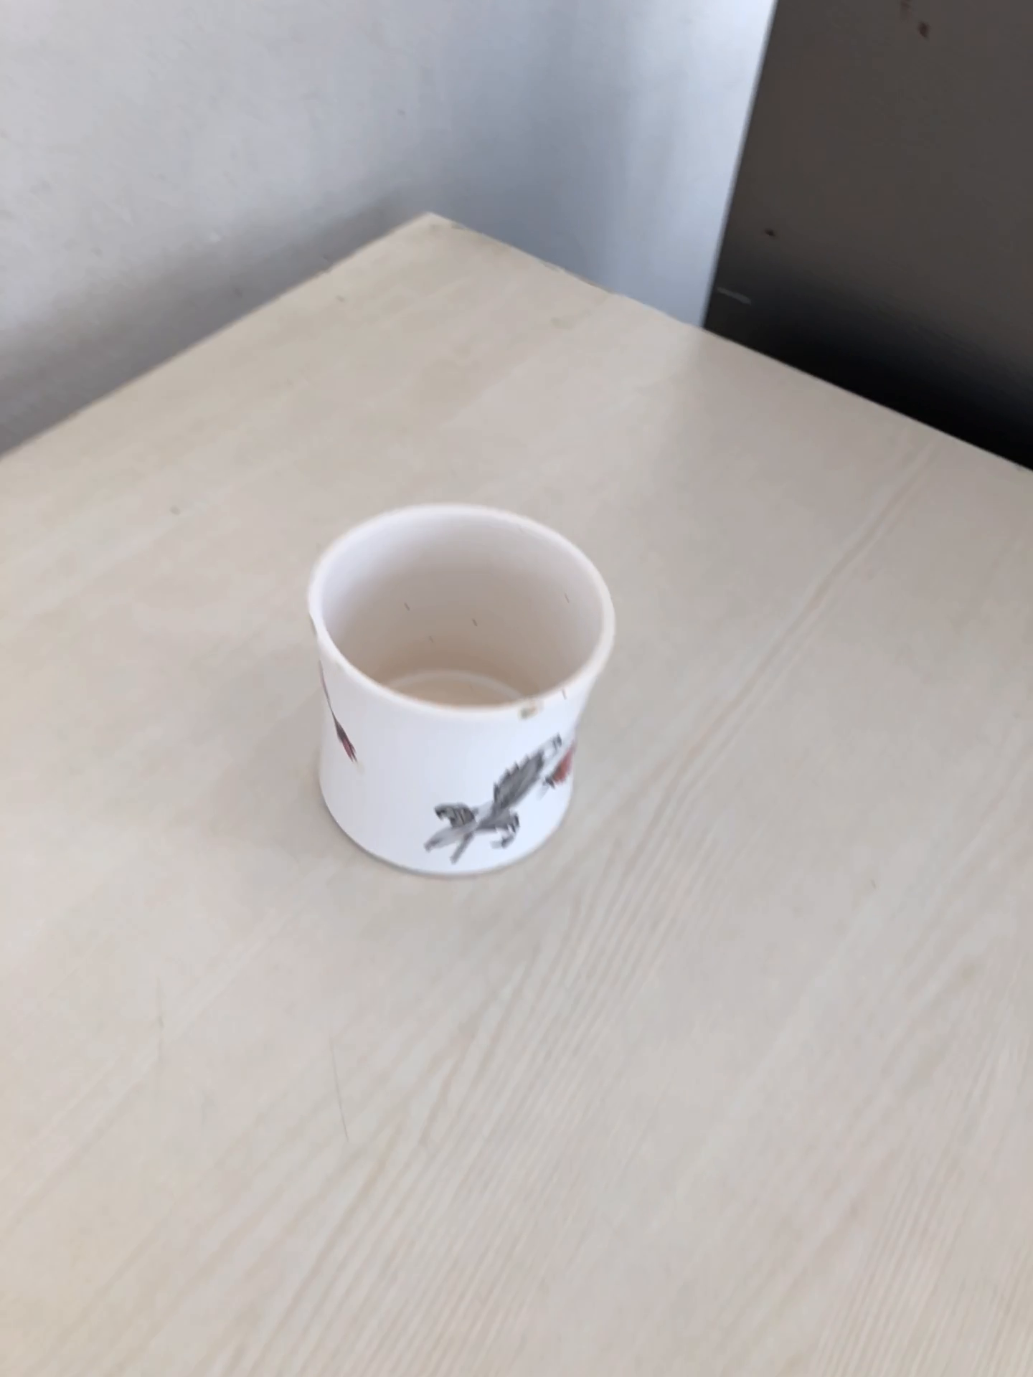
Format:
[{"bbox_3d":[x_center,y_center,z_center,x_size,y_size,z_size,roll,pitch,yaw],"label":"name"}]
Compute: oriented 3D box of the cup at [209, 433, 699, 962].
[{"bbox_3d":[-0.014,-0.001,0.296,0.080,0.070,0.091,26,50,15],"label":"cup"}]
